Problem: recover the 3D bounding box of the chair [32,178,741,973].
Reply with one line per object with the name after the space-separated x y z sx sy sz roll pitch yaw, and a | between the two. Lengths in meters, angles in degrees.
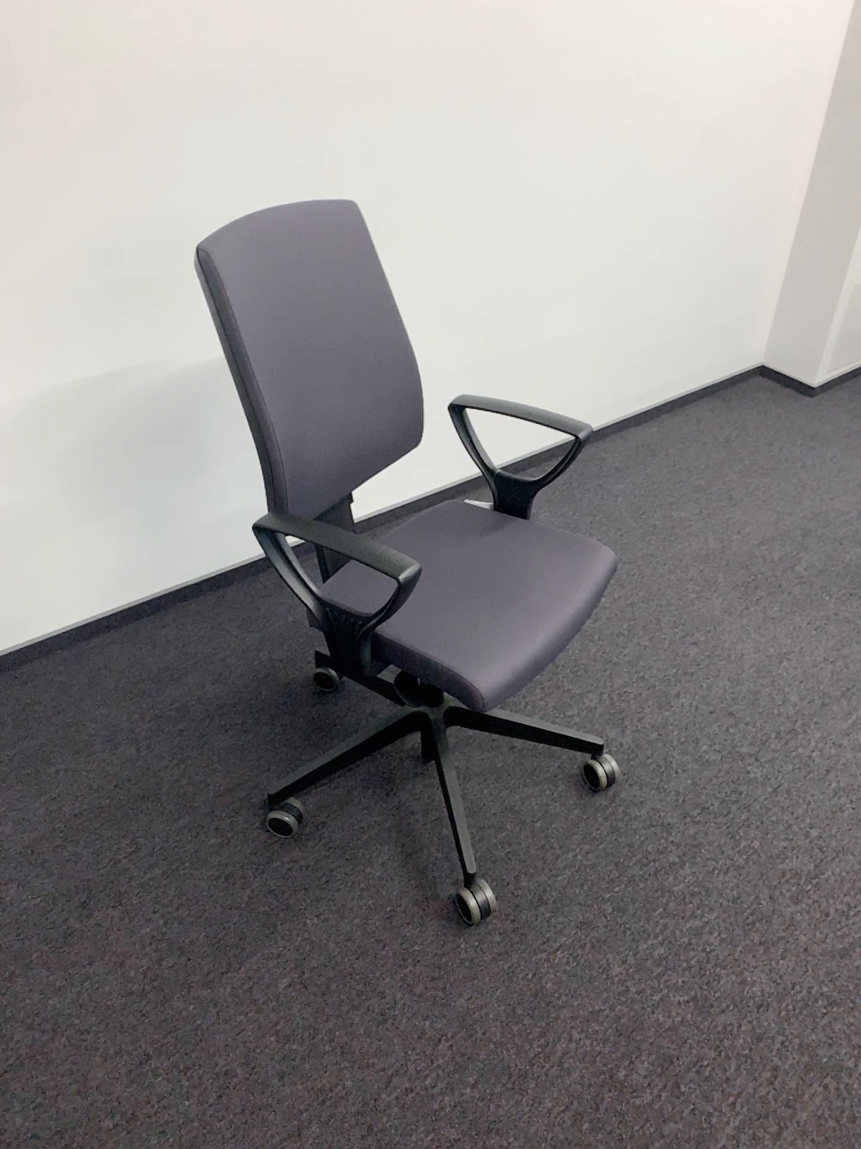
-0.035 -0.065 1.584 0.781 1.034 0.703 21 40 31 | chair
